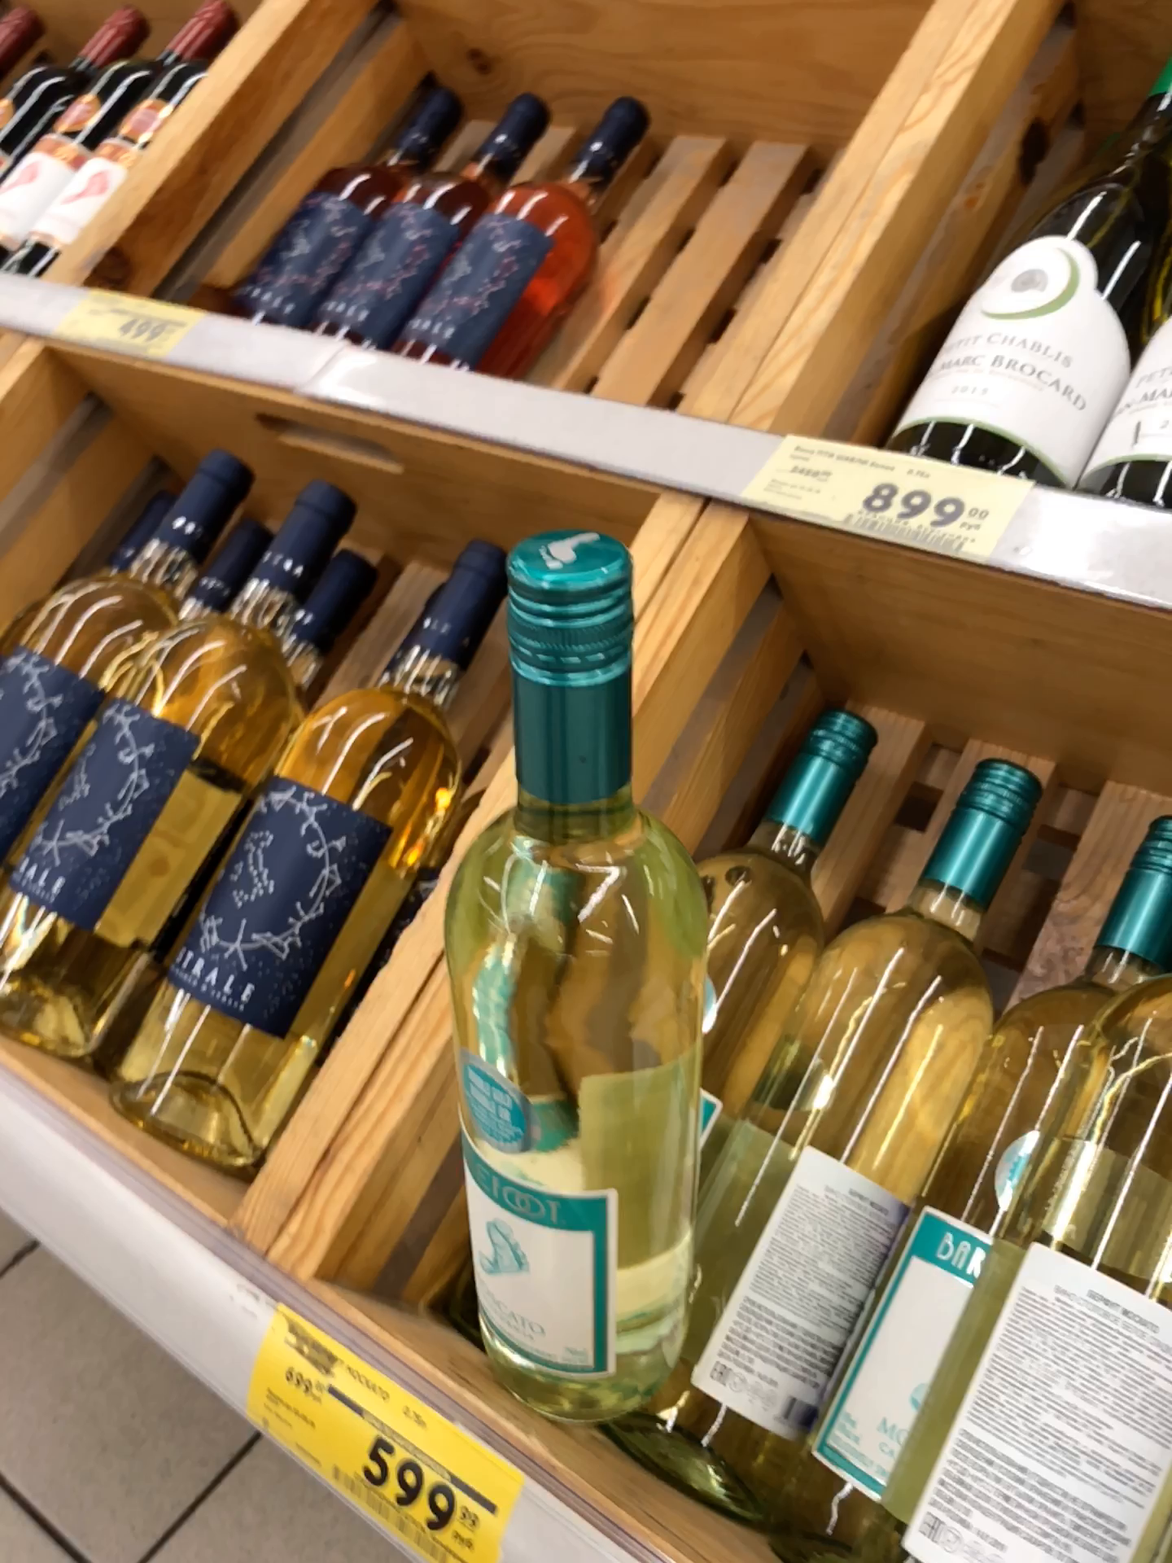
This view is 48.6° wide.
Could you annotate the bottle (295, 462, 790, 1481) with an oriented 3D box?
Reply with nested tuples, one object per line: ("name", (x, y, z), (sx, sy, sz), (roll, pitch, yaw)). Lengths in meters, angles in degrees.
("bottle", (-0.007, 0.067, 0.375), (0.080, 0.288, 0.080), (-1, 33, 1))
